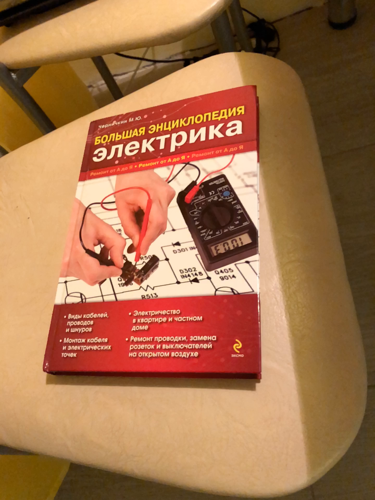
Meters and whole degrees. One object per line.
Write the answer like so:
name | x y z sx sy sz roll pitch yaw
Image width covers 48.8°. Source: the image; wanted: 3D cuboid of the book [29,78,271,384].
book | -0.023 -0.020 0.338 0.172 0.030 0.242 -6 64 20
